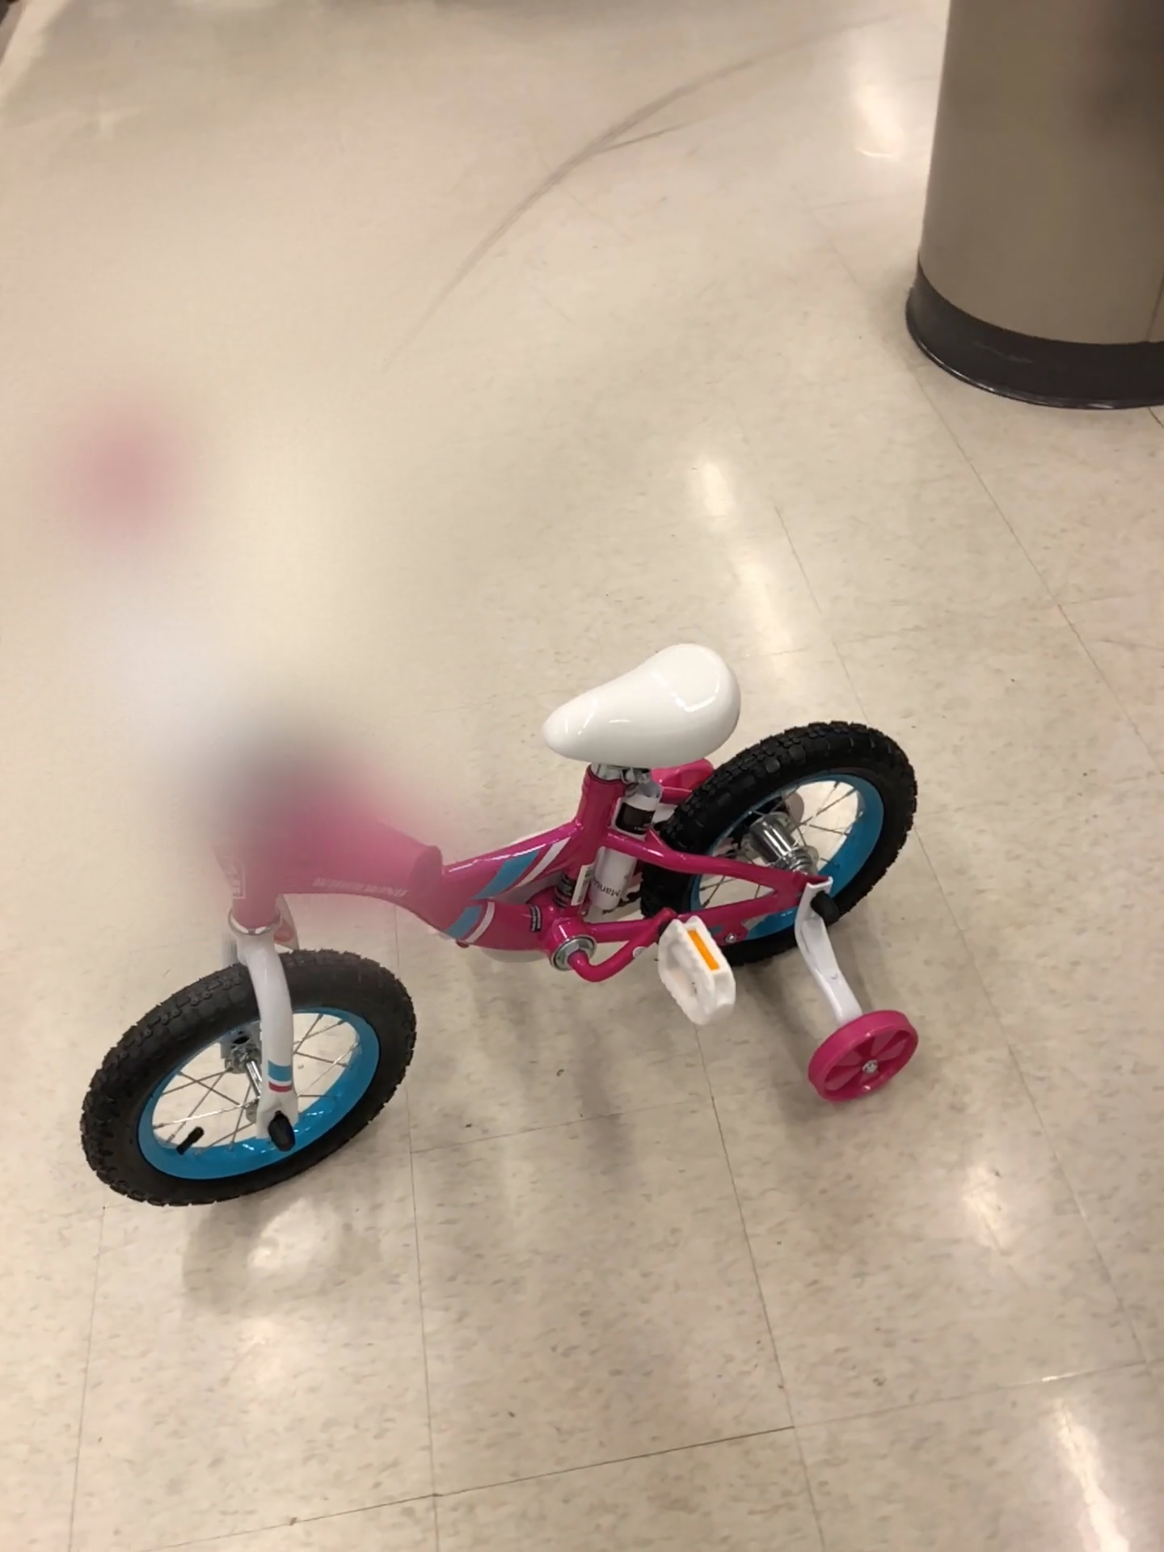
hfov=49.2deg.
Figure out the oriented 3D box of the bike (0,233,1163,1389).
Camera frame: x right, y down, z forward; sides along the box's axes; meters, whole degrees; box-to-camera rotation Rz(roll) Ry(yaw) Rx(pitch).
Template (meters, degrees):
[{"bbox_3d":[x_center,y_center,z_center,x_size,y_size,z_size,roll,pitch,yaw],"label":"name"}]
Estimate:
[{"bbox_3d":[-0.077,0.018,1.064,0.815,0.625,0.463,-21,50,-16],"label":"bike"}]
